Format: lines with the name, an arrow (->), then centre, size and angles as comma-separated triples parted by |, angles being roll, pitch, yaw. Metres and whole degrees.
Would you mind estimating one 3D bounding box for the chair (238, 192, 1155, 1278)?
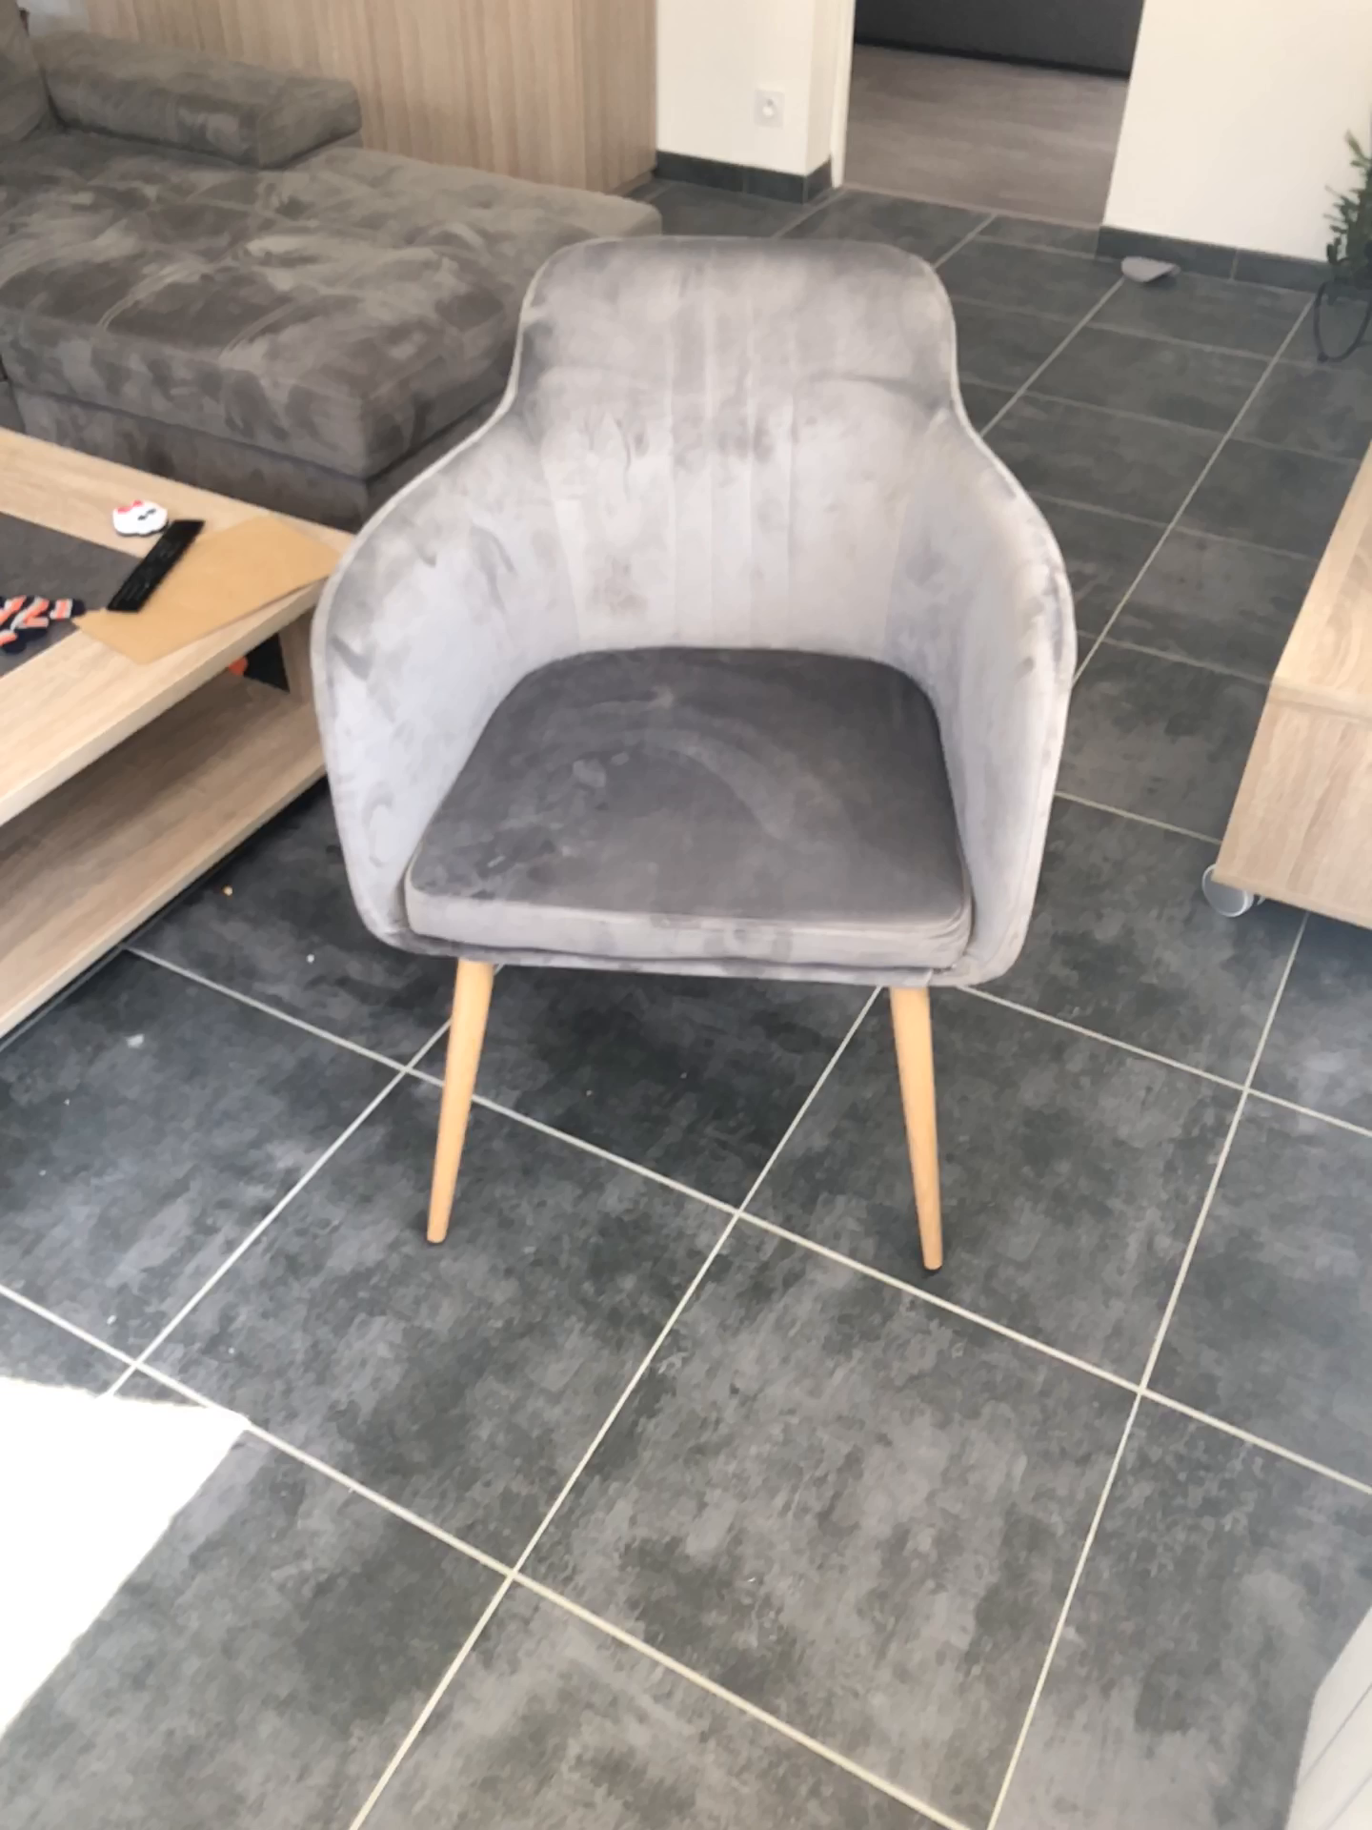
chair -> 0.025, -0.161, 1.457 | 0.590, 0.825, 0.584 | 4, 41, 3
